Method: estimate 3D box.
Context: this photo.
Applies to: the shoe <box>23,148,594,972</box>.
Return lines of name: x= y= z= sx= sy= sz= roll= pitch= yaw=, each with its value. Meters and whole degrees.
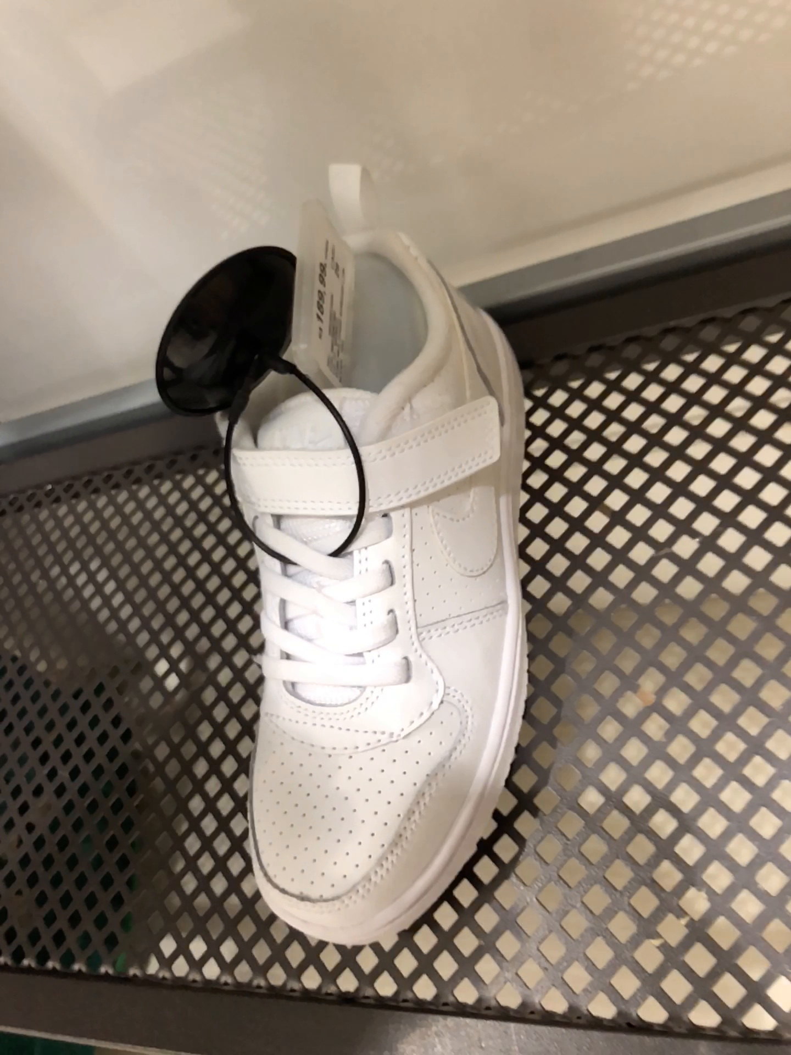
shoe: x=-0.007 y=0.009 z=0.260 sx=0.080 sy=0.099 sz=0.200 roll=-1 pitch=63 yaw=30
